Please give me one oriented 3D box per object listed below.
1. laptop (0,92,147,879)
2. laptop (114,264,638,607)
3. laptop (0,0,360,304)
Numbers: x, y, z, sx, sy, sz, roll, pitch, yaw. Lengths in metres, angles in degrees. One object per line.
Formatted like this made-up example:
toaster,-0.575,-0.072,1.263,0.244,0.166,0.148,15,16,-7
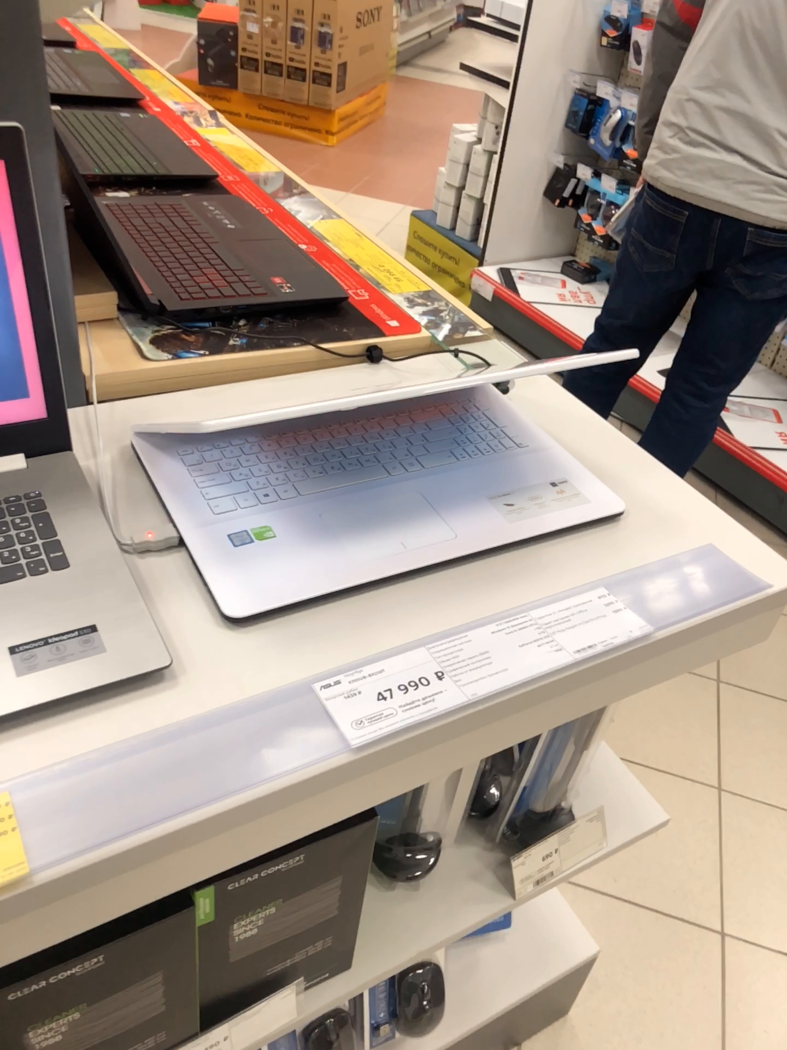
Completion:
laptop,-0.419,-0.071,0.521,0.392,0.262,0.337,-16,43,-30
laptop,-0.019,-0.110,0.789,0.391,0.142,0.257,-14,43,-30
laptop,-0.317,-0.470,1.073,0.366,0.220,0.378,-10,43,-24
